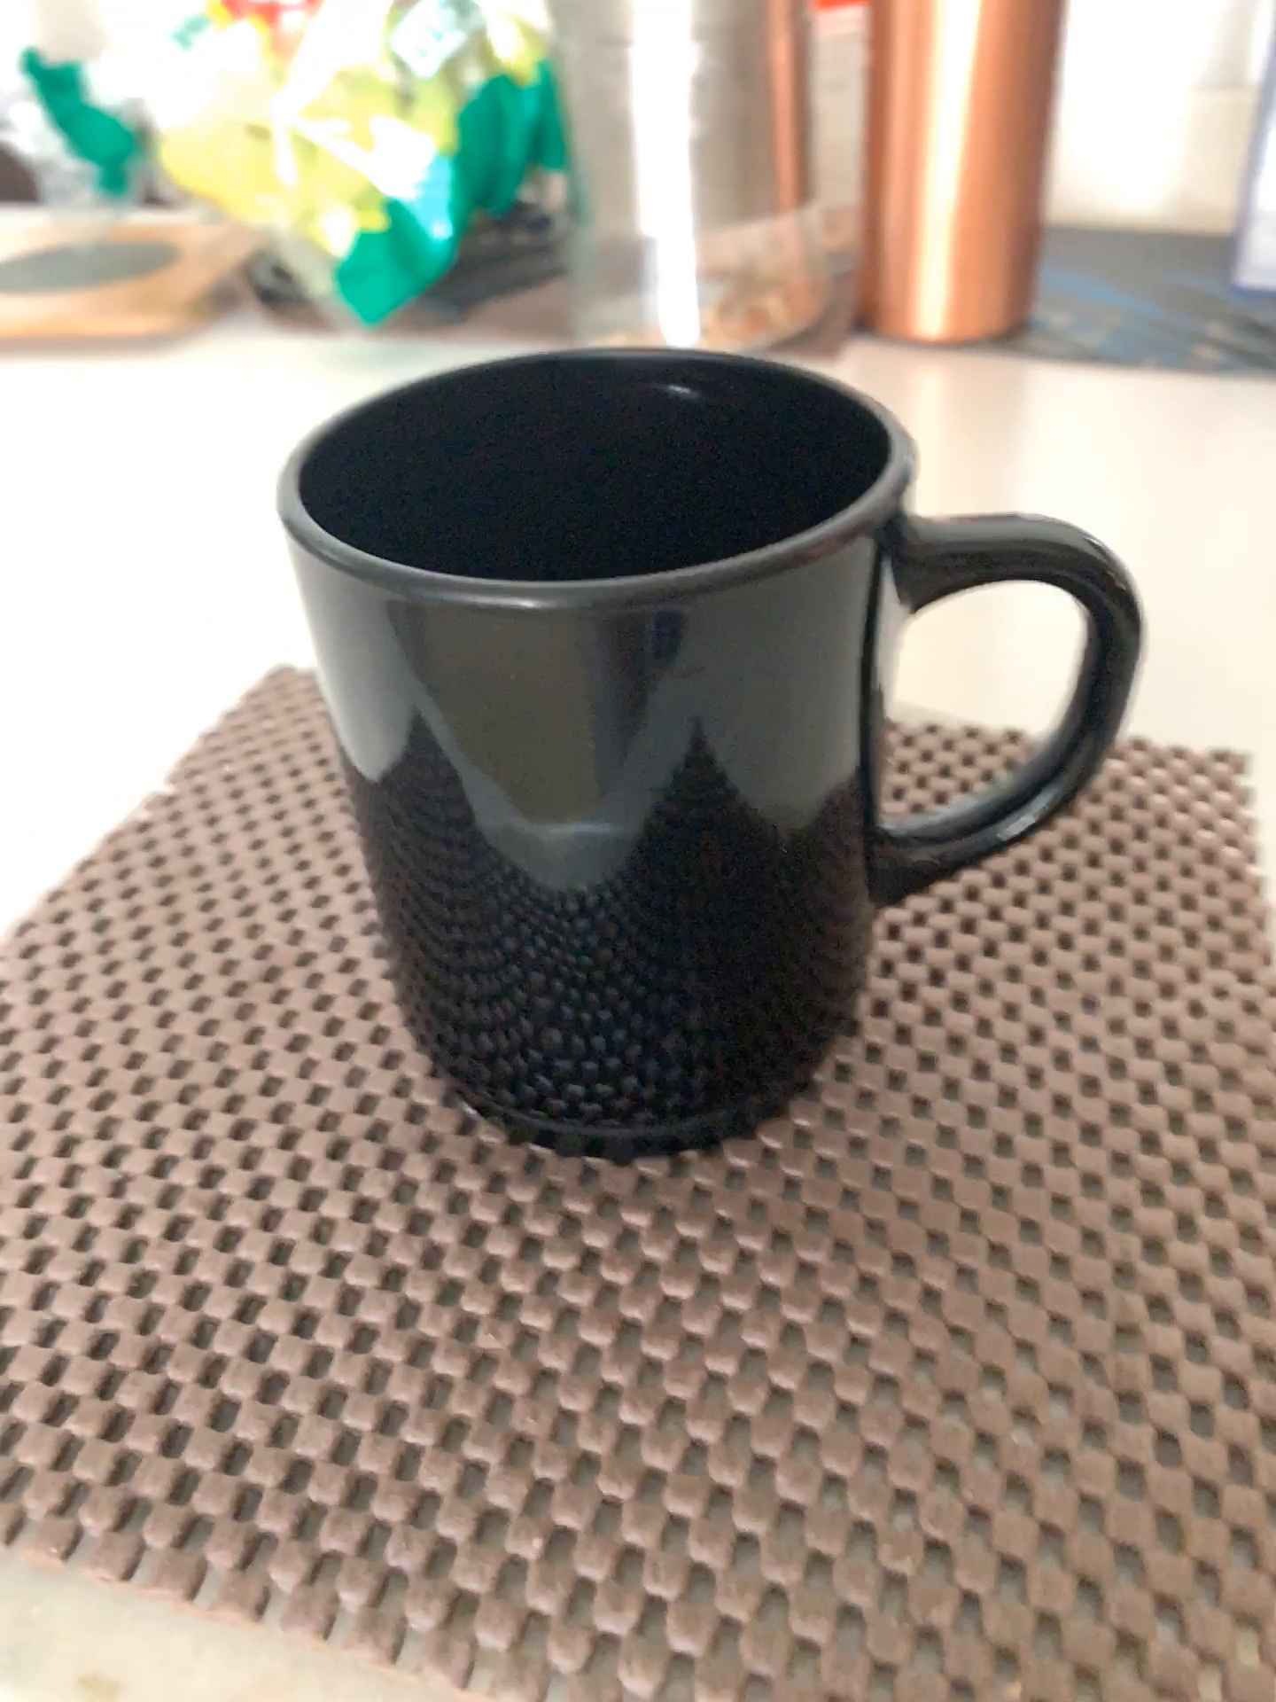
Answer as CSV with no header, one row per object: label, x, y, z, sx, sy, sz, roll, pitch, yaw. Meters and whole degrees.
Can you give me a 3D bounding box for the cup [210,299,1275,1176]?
cup,0.010,-0.017,0.180,0.100,0.080,0.077,-5,38,-1
